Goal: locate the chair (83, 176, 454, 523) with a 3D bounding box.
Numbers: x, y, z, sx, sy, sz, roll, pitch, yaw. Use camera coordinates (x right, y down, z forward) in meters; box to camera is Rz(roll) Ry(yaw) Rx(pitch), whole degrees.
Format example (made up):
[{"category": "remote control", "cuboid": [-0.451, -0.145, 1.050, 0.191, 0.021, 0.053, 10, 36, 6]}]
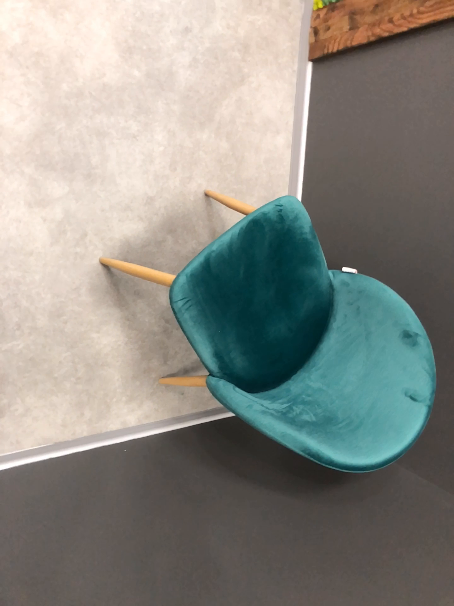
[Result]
[{"category": "chair", "cuboid": [0.101, 0.025, 1.398, 0.541, 0.857, 0.541, -39, 120, -21]}]
